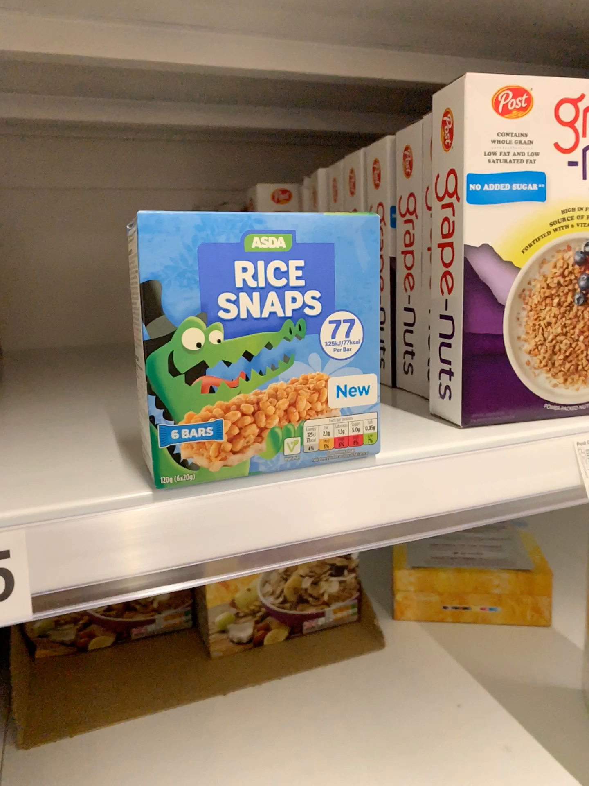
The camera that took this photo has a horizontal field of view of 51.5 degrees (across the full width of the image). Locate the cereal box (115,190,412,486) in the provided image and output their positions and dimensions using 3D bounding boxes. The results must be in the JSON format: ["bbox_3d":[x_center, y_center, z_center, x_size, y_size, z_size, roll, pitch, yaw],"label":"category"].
[{"bbox_3d":[-0.013,-0.032,0.316,0.140,0.129,0.050,-5,10,-22],"label":"cereal box"}]
